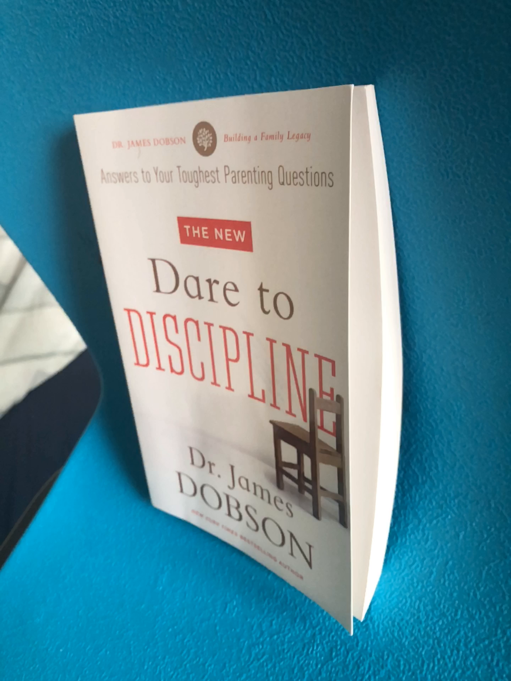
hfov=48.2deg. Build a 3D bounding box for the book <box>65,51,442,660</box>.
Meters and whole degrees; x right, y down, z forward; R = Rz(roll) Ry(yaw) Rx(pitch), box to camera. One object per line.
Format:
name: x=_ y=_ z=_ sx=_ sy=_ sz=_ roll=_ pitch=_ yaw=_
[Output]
book: x=-0.010 y=0.001 z=0.239 sx=0.151 sy=0.199 sz=0.040 roll=15 pitch=25 yaw=41
